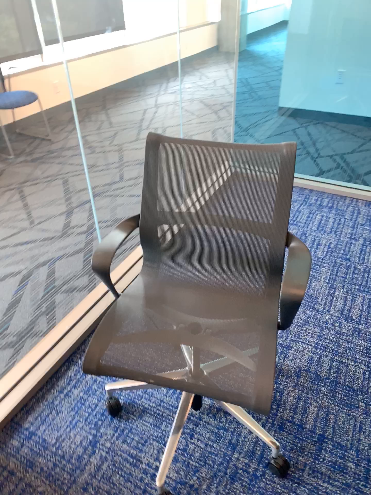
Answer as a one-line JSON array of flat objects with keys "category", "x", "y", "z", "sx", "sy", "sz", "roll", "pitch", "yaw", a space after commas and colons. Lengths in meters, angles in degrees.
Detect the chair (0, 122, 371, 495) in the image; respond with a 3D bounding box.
[{"category": "chair", "x": 0.039, "y": 0.175, "z": 0.985, "sx": 0.660, "sy": 0.773, "sz": 0.646, "roll": 7, "pitch": 35, "yaw": 12}]
